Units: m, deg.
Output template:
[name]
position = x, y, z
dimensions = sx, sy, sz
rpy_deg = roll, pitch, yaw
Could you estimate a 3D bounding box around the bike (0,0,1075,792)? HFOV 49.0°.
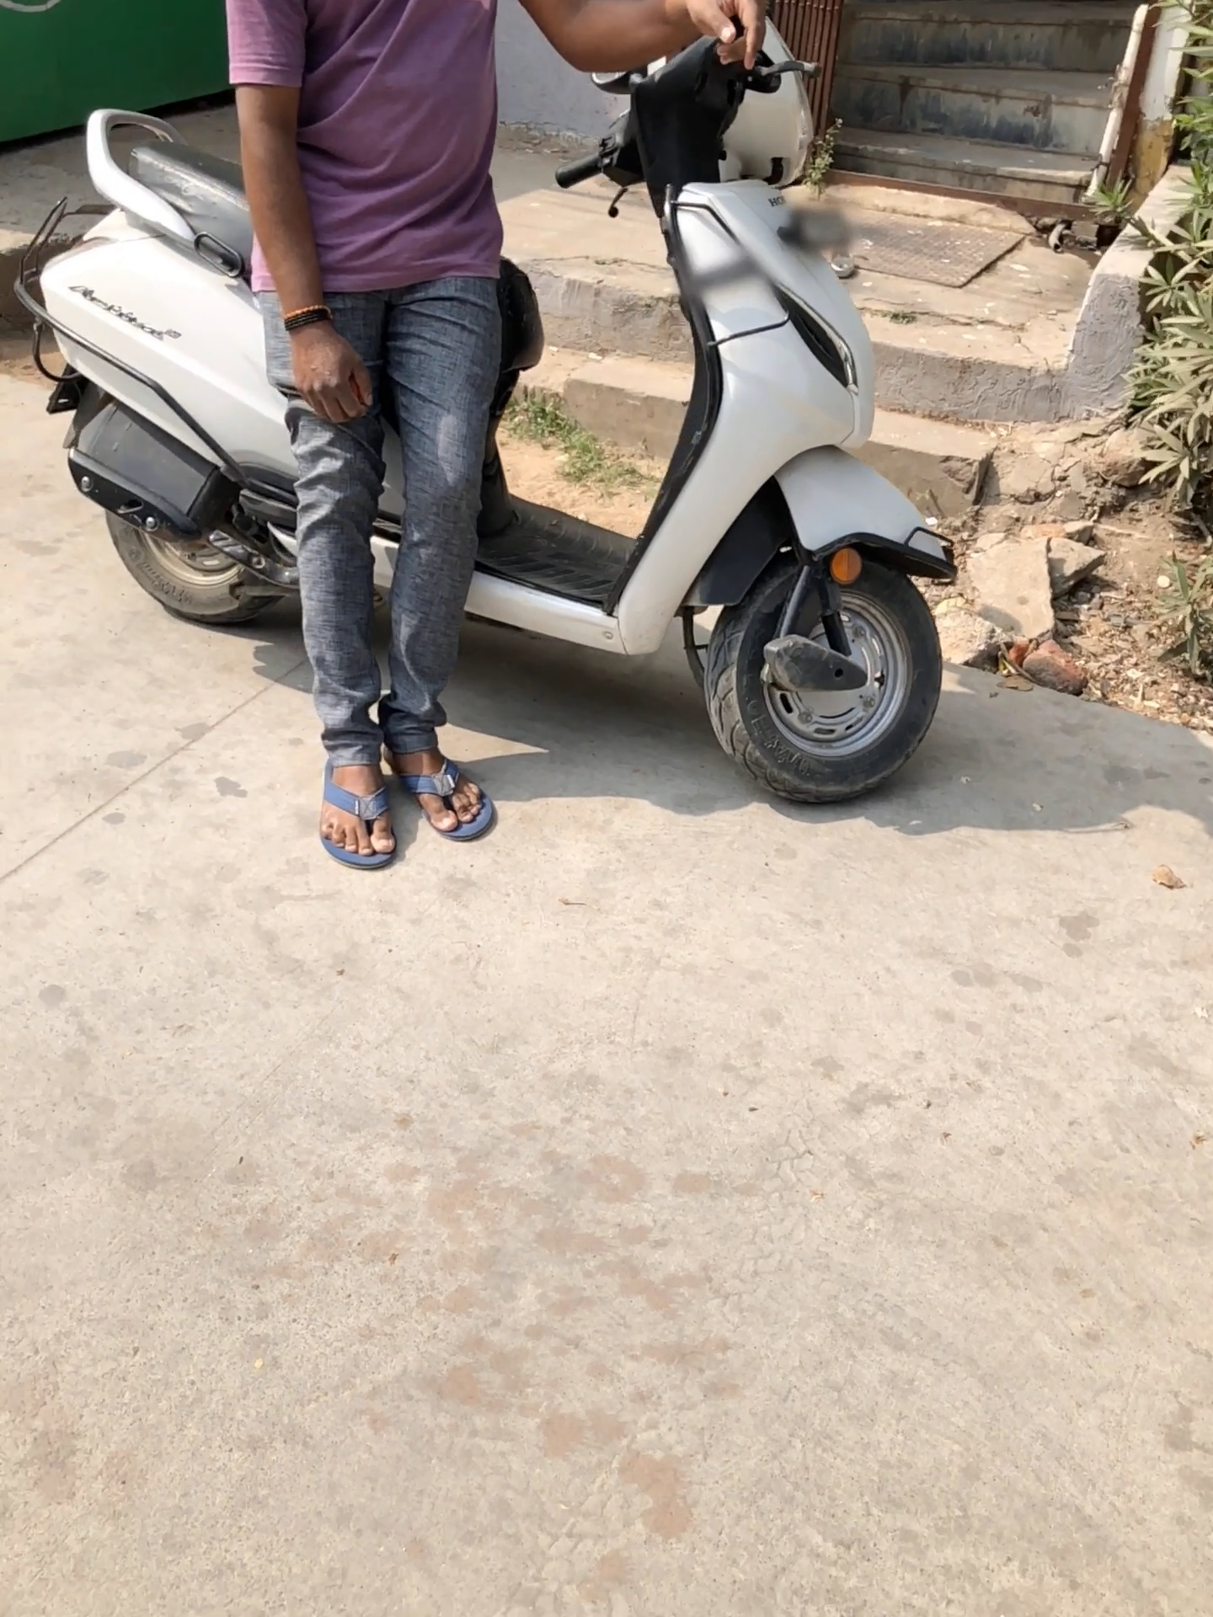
[bike]
position = -0.130, -0.770, 2.241
dimensions = 1.520, 1.007, 0.651
rpy_deg = 12, 37, 12
